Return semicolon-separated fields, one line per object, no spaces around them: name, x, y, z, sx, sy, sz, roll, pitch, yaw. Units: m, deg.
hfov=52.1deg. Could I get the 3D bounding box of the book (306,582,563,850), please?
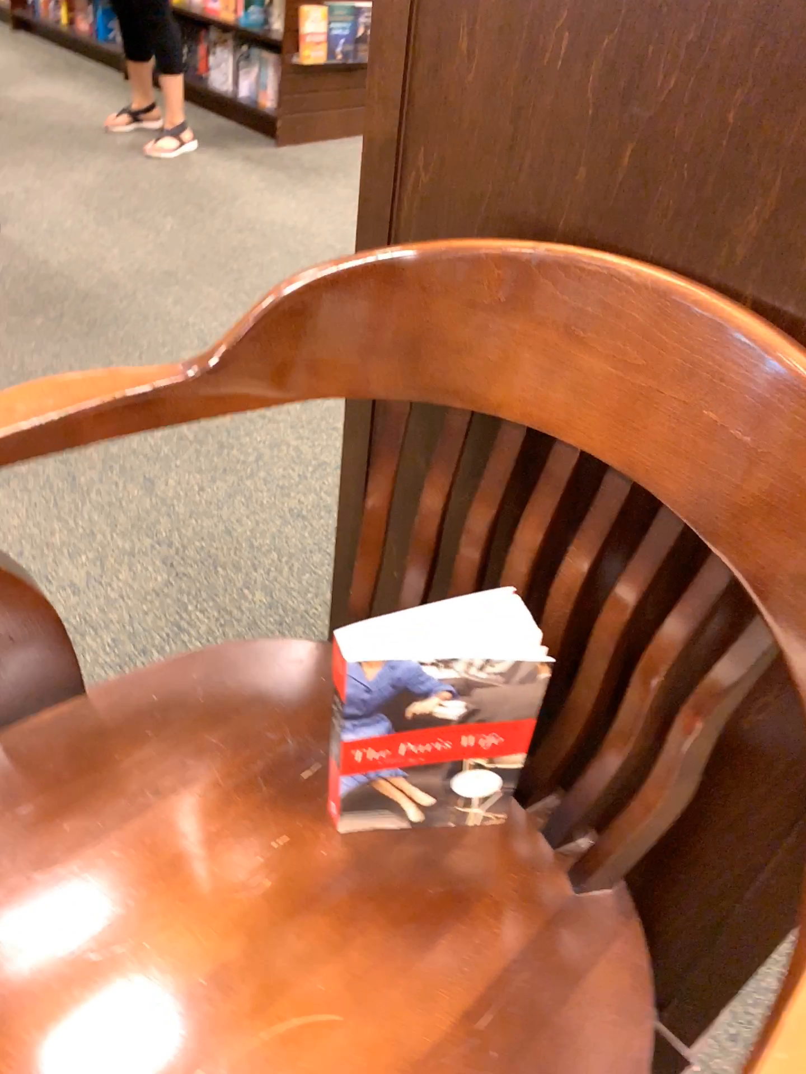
book;0.012;0.134;0.602;0.150;0.199;0.072;-3;42;-13
